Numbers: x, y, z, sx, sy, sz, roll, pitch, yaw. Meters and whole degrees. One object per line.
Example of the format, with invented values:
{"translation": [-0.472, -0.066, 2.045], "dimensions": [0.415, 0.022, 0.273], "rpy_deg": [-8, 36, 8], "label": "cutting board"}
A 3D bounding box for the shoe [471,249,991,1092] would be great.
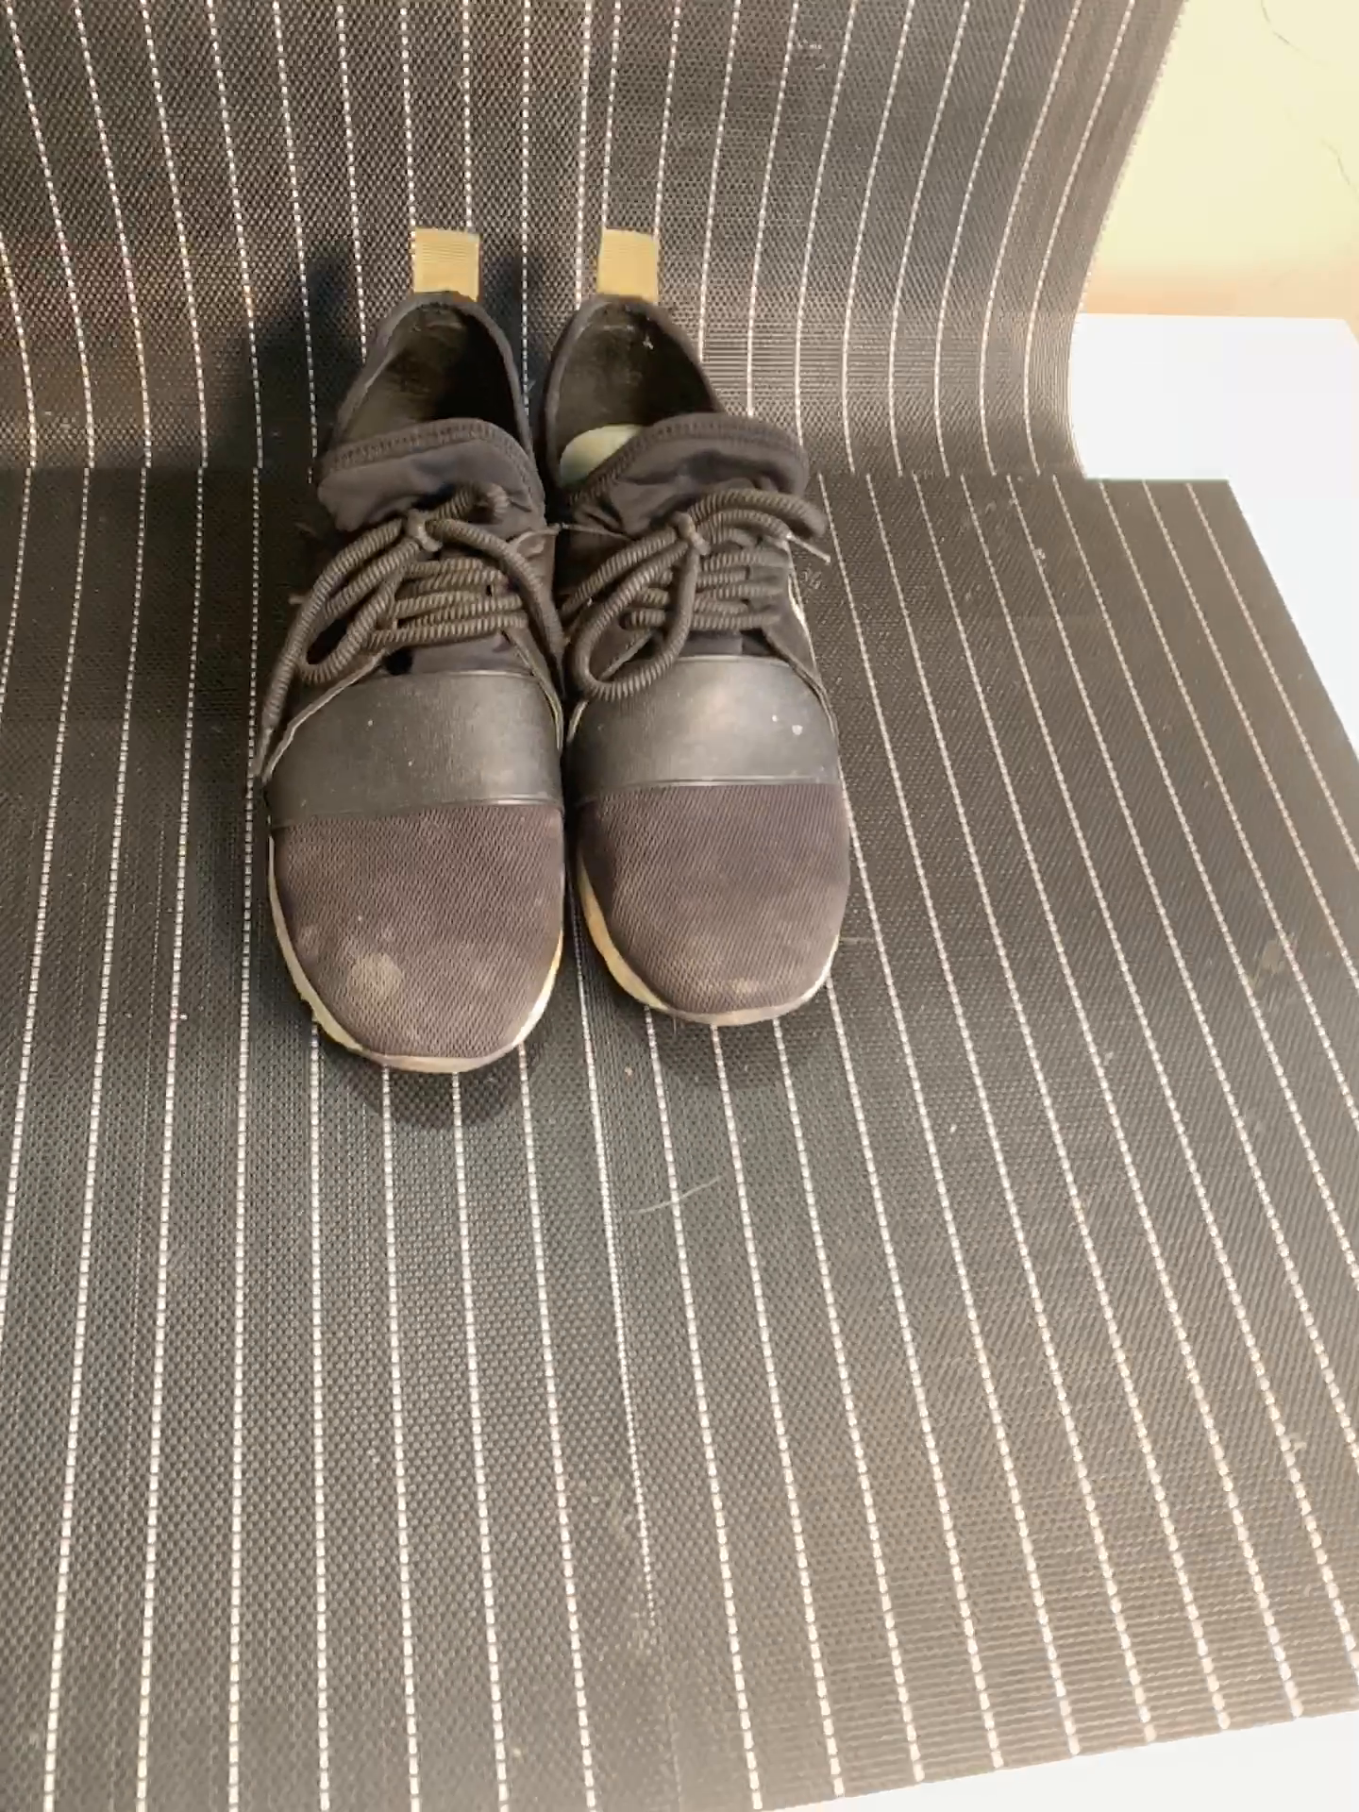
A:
{"translation": [0.000, -0.091, 0.467], "dimensions": [0.100, 0.090, 0.281], "rpy_deg": [-7, 60, -13], "label": "shoe"}

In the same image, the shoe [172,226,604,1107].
{"translation": [-0.087, -0.086, 0.434], "dimensions": [0.100, 0.080, 0.281], "rpy_deg": [-1, 59, -9], "label": "shoe"}
